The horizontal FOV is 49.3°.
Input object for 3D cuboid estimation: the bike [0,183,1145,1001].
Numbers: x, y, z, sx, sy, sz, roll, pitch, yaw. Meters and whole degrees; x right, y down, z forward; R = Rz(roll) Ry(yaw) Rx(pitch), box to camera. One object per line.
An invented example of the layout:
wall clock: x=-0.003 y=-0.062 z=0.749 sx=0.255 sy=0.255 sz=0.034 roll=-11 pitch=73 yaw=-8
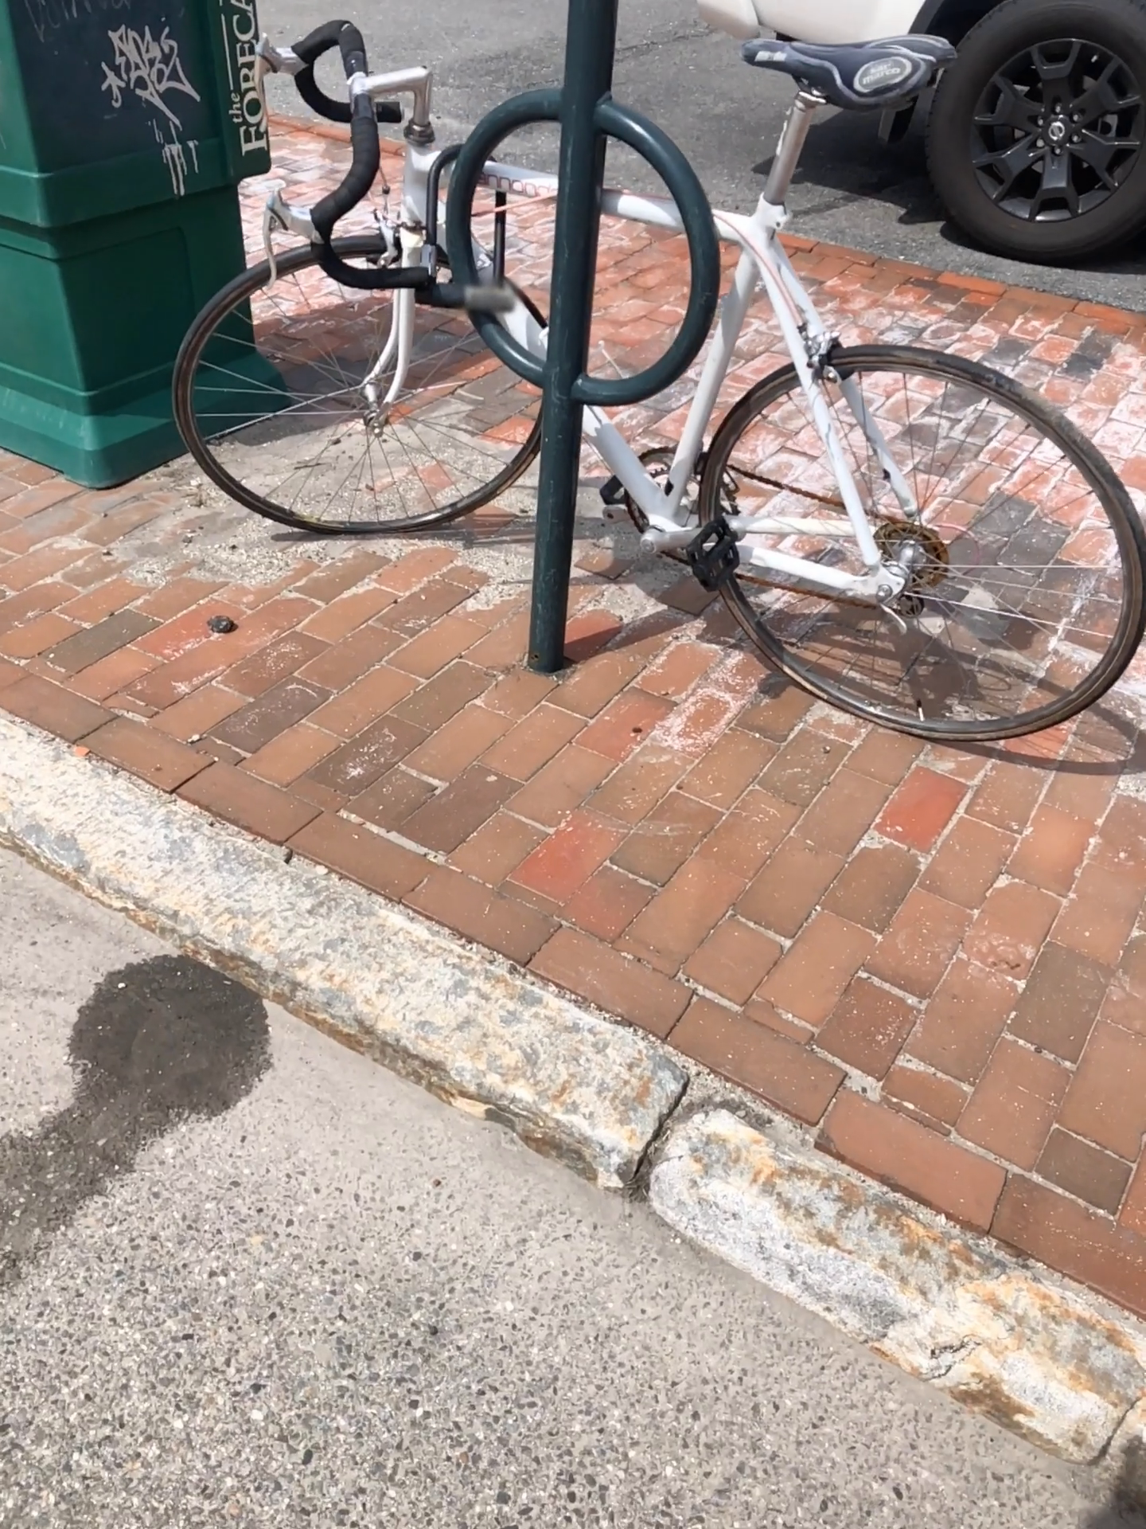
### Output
bike: x=-0.010 y=-0.255 z=1.516 sx=1.274 sy=0.649 sz=0.467 roll=15 pitch=40 yaw=17
